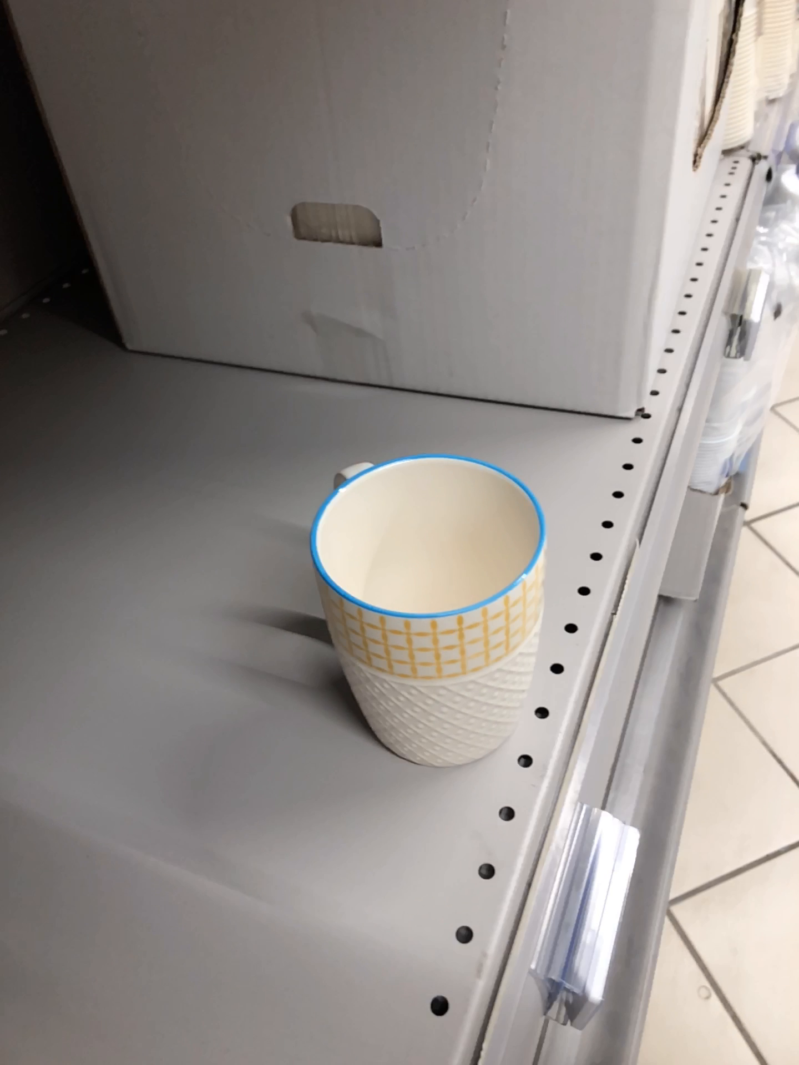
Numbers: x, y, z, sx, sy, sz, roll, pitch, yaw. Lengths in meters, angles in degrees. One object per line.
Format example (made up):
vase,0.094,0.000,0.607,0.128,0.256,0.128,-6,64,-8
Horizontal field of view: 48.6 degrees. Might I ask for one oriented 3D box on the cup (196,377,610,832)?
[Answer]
cup,0.002,0.023,0.352,0.106,0.092,0.118,-28,47,-16
